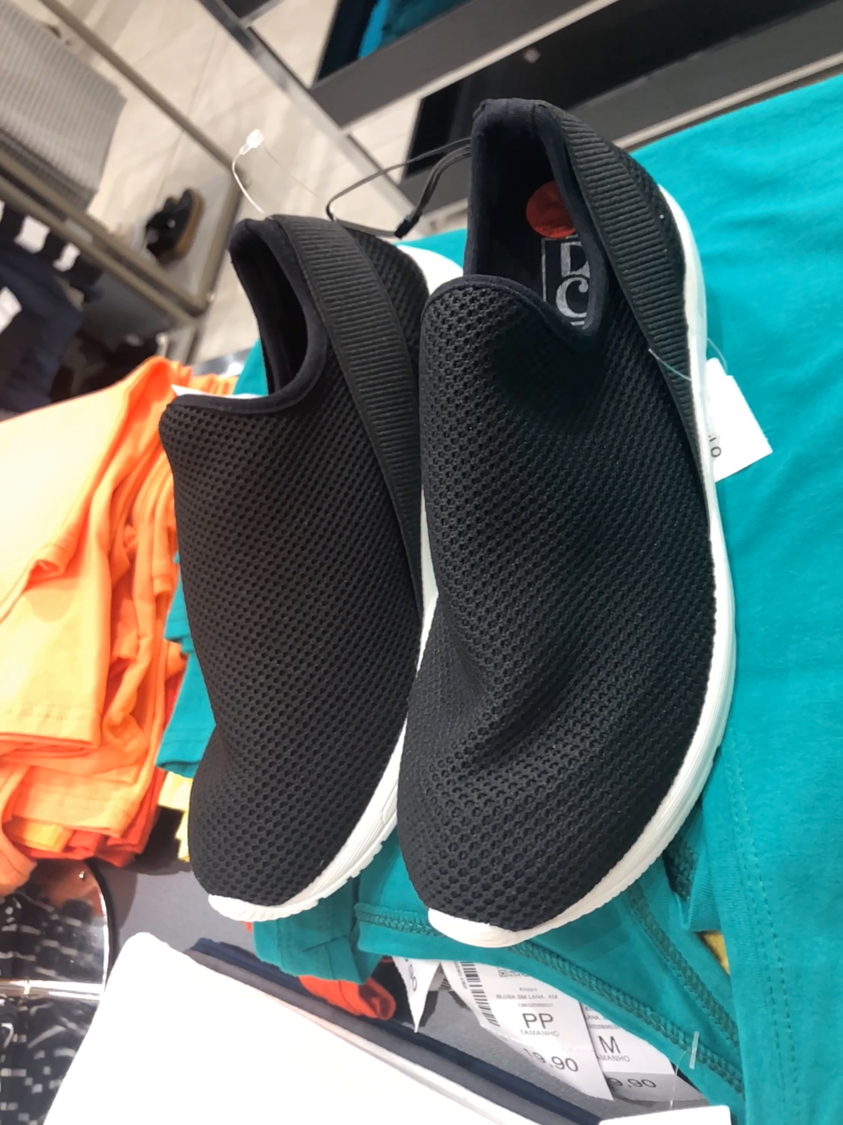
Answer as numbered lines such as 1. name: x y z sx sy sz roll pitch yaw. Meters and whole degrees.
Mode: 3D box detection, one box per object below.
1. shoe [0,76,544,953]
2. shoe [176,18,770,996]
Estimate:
1. shoe: -0.040 -0.011 0.333 0.090 0.119 0.260 -6 67 39
2. shoe: 0.033 -0.012 0.285 0.090 0.119 0.240 -6 63 39
